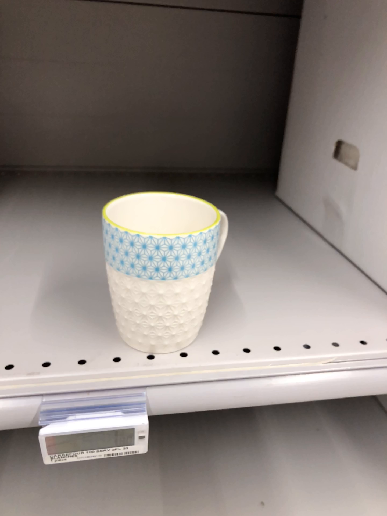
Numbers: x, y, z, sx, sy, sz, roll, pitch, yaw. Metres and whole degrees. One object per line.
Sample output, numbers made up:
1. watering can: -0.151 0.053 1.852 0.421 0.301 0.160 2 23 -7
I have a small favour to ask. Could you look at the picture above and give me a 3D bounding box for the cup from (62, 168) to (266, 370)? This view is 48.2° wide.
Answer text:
1. cup: -0.018 -0.002 0.332 0.098 0.091 0.119 17 30 25
